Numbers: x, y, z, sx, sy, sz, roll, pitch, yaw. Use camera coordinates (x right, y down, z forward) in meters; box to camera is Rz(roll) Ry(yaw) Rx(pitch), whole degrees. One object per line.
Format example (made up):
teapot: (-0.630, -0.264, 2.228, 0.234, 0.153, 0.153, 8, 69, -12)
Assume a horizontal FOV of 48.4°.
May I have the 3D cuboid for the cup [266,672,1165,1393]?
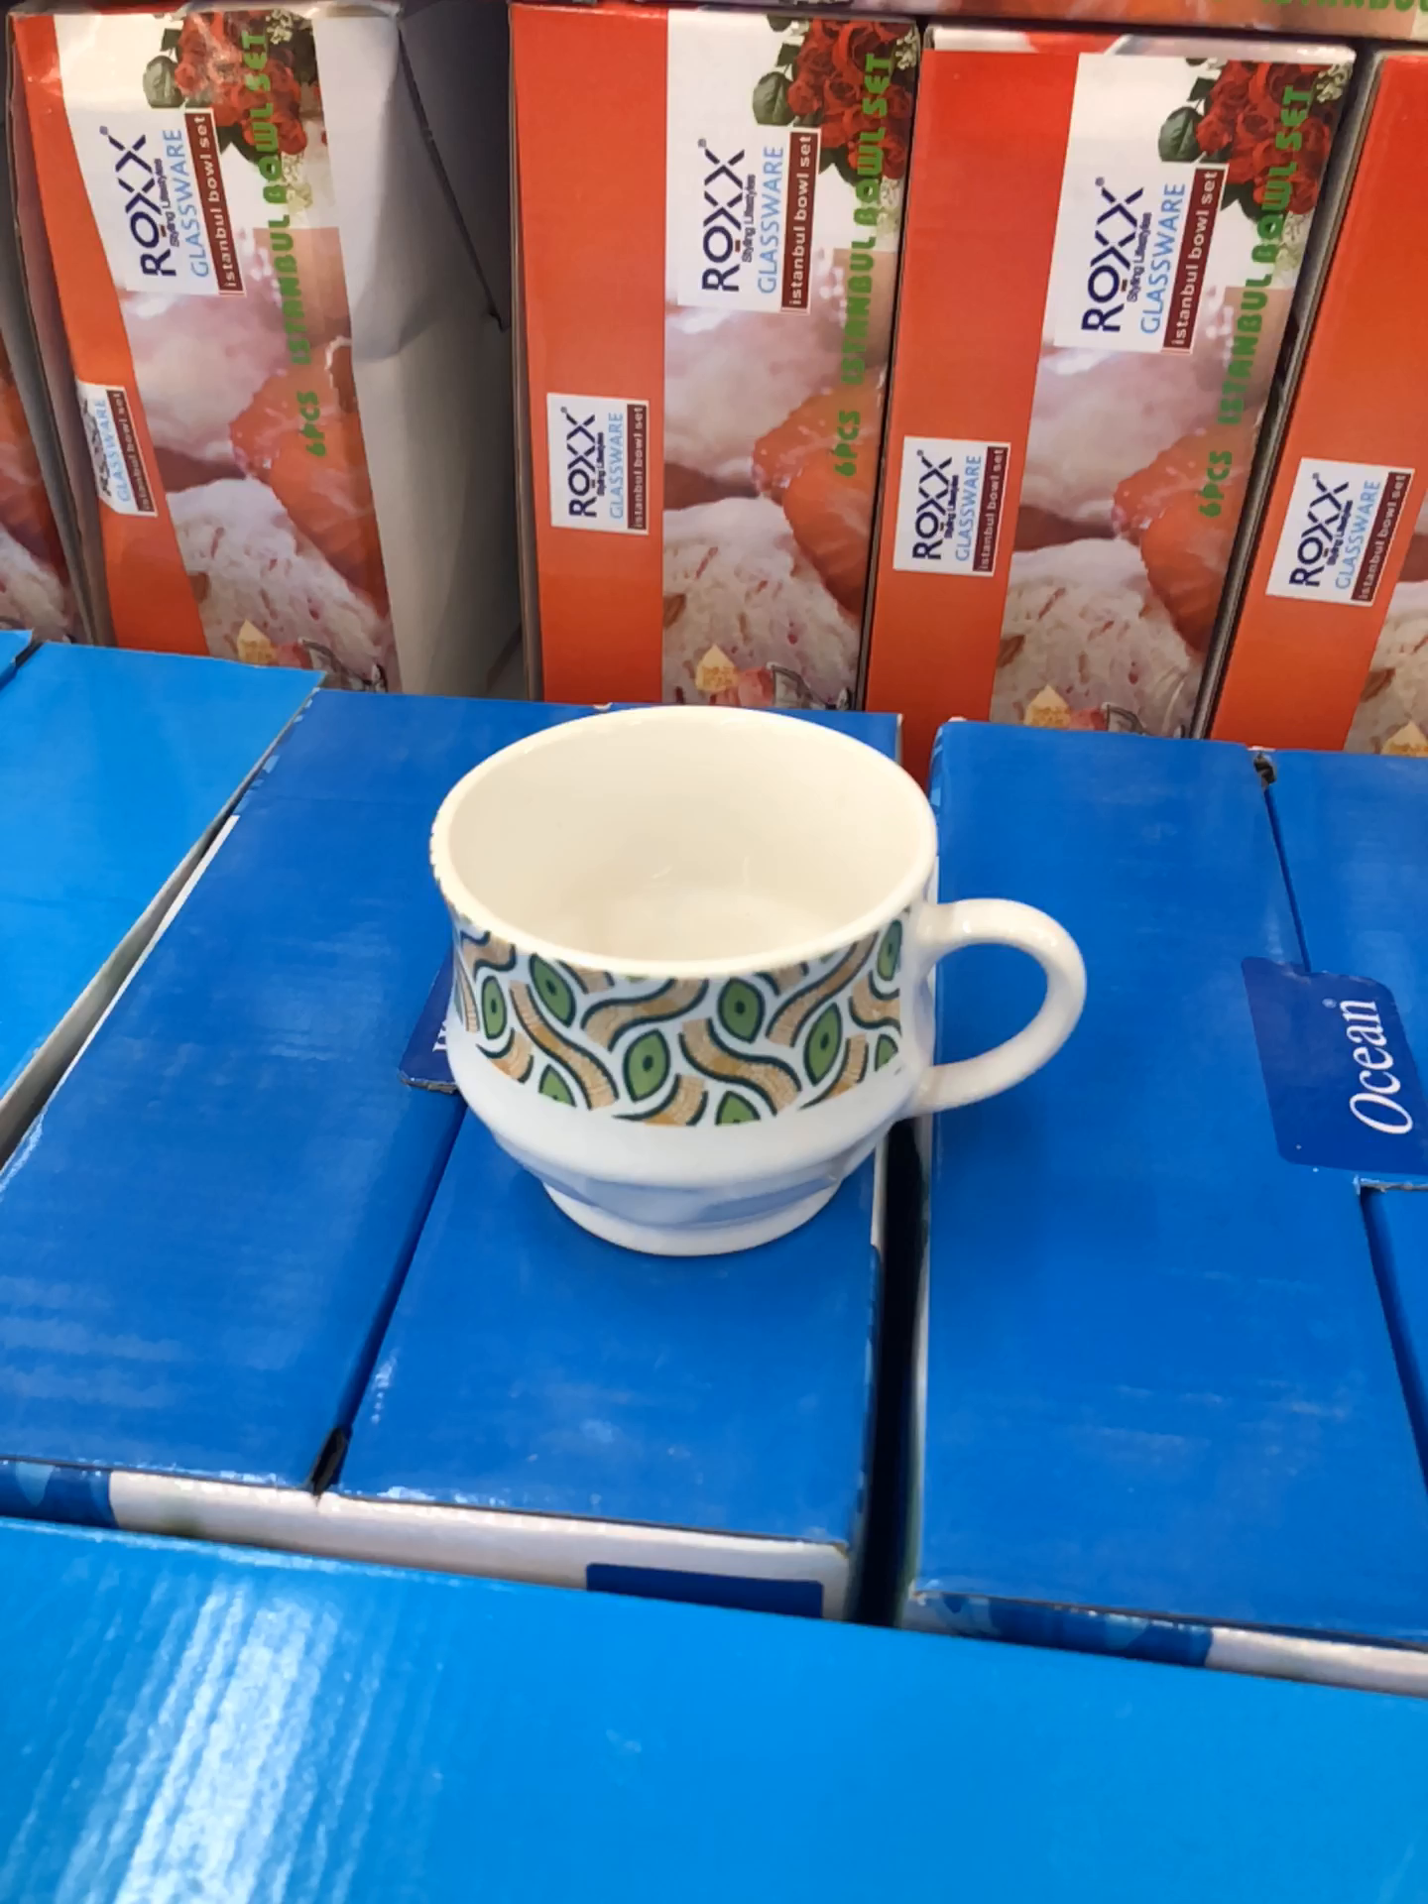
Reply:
cup: (0.002, 0.008, 0.221, 0.100, 0.060, 0.071, 5, 39, 4)
